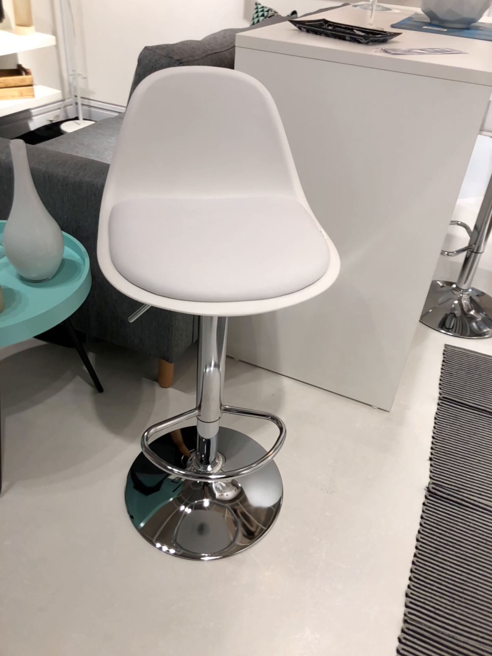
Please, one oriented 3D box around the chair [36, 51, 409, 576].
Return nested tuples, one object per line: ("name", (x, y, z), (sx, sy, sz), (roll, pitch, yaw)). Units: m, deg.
("chair", (-0.072, 0.016, 1.021), (0.410, 0.883, 0.423), (-1, 37, -8))
